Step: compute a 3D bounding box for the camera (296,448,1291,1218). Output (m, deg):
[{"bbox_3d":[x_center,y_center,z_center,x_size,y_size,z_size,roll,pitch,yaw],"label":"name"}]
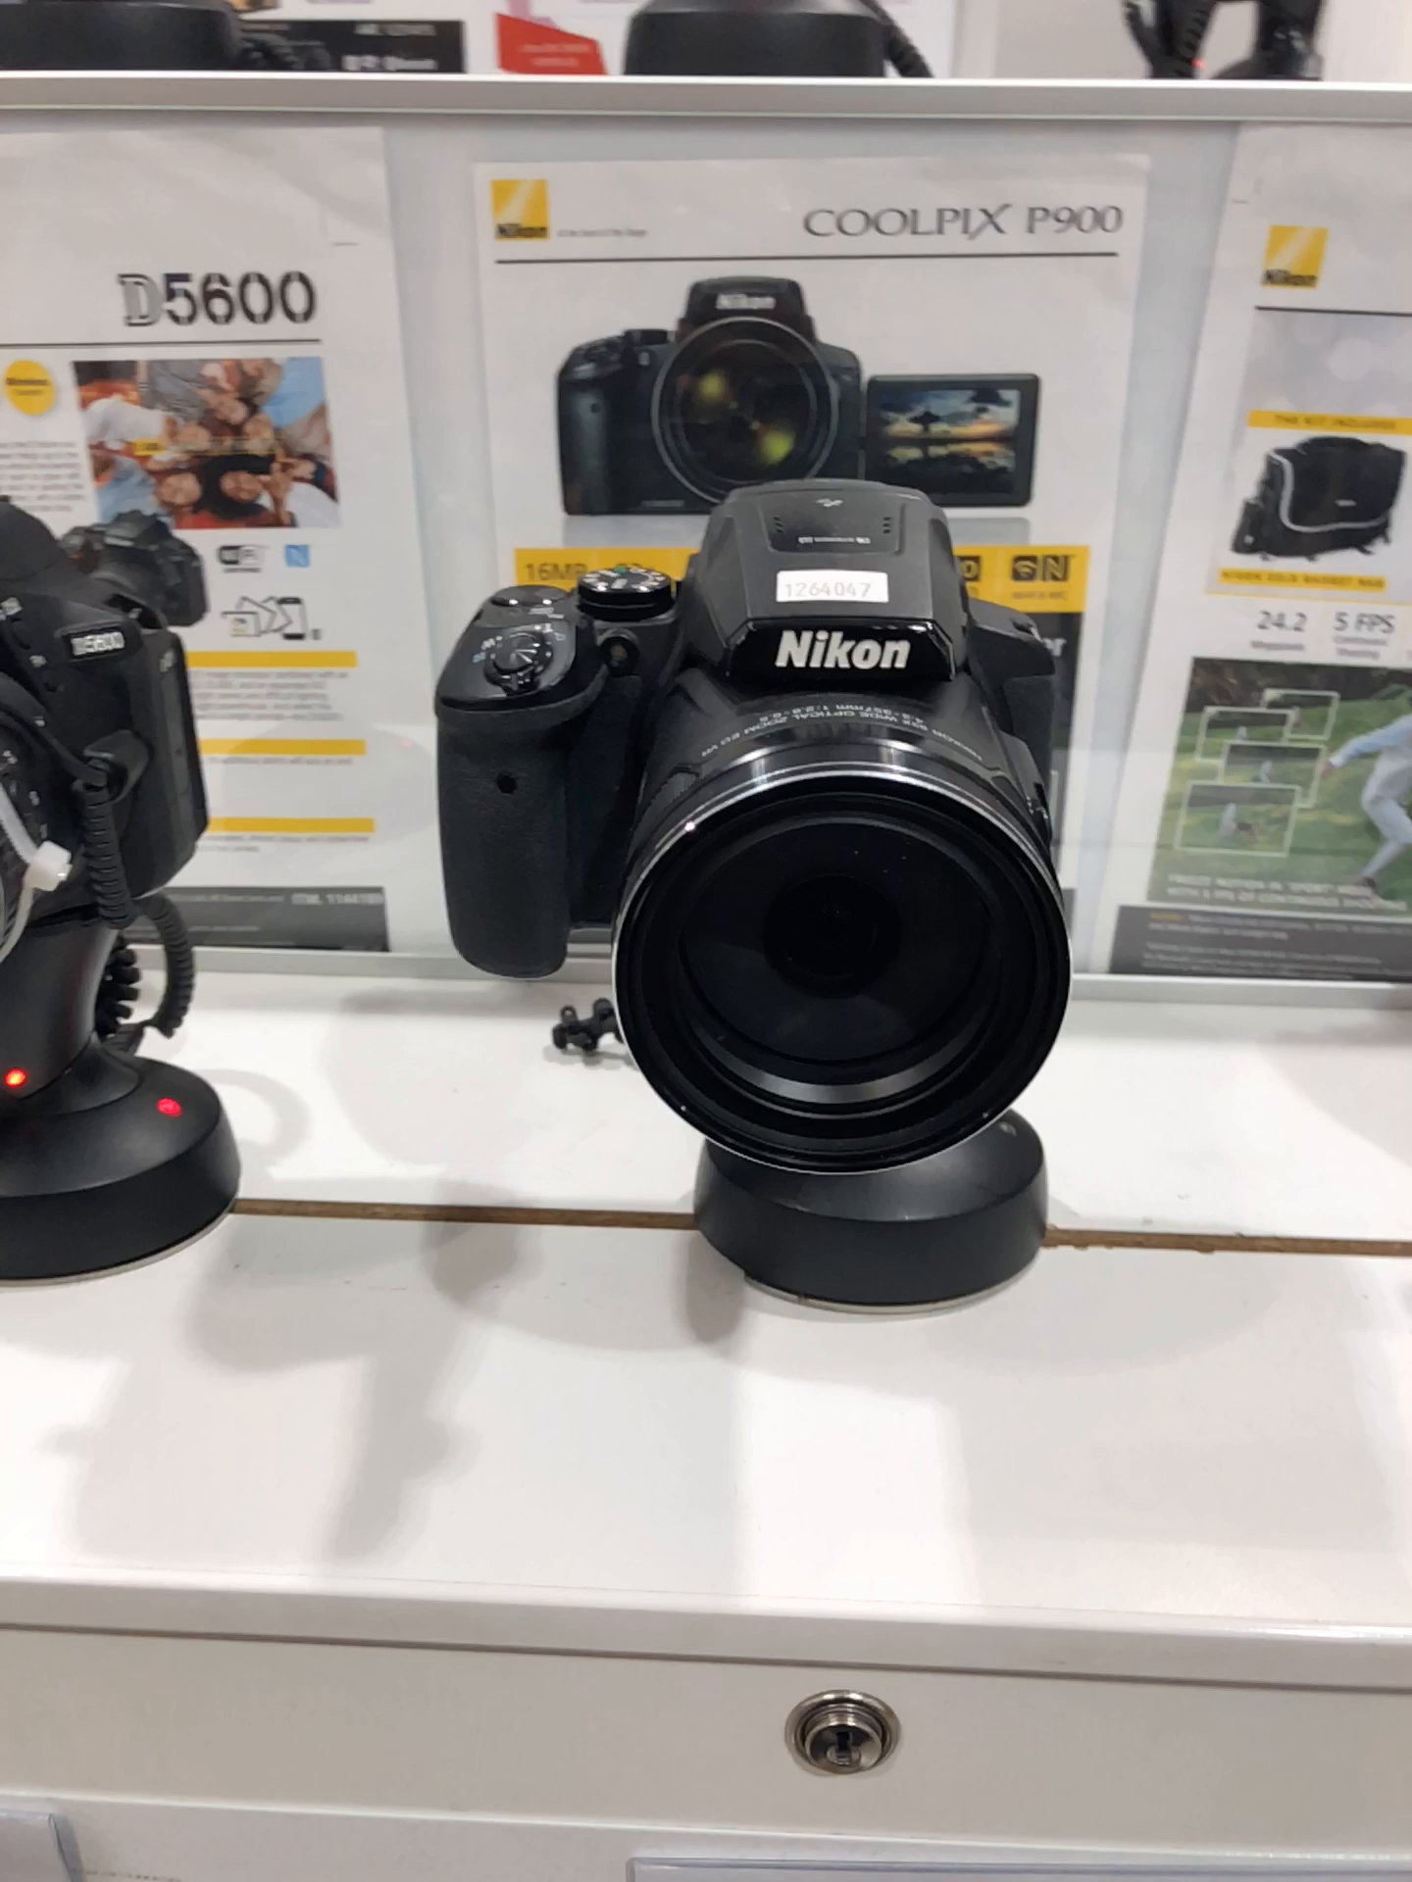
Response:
[{"bbox_3d":[0.013,-0.035,0.314,0.140,0.100,0.161,1,25,1],"label":"camera"}]
